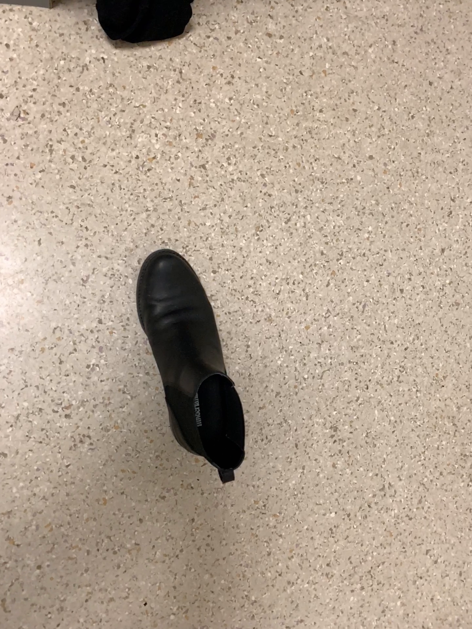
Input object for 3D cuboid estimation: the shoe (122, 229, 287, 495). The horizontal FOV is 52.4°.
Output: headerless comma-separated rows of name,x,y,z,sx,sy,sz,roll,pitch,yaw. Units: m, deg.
shoe,-0.047,0.051,0.591,0.108,0.147,0.270,-15,93,-18
